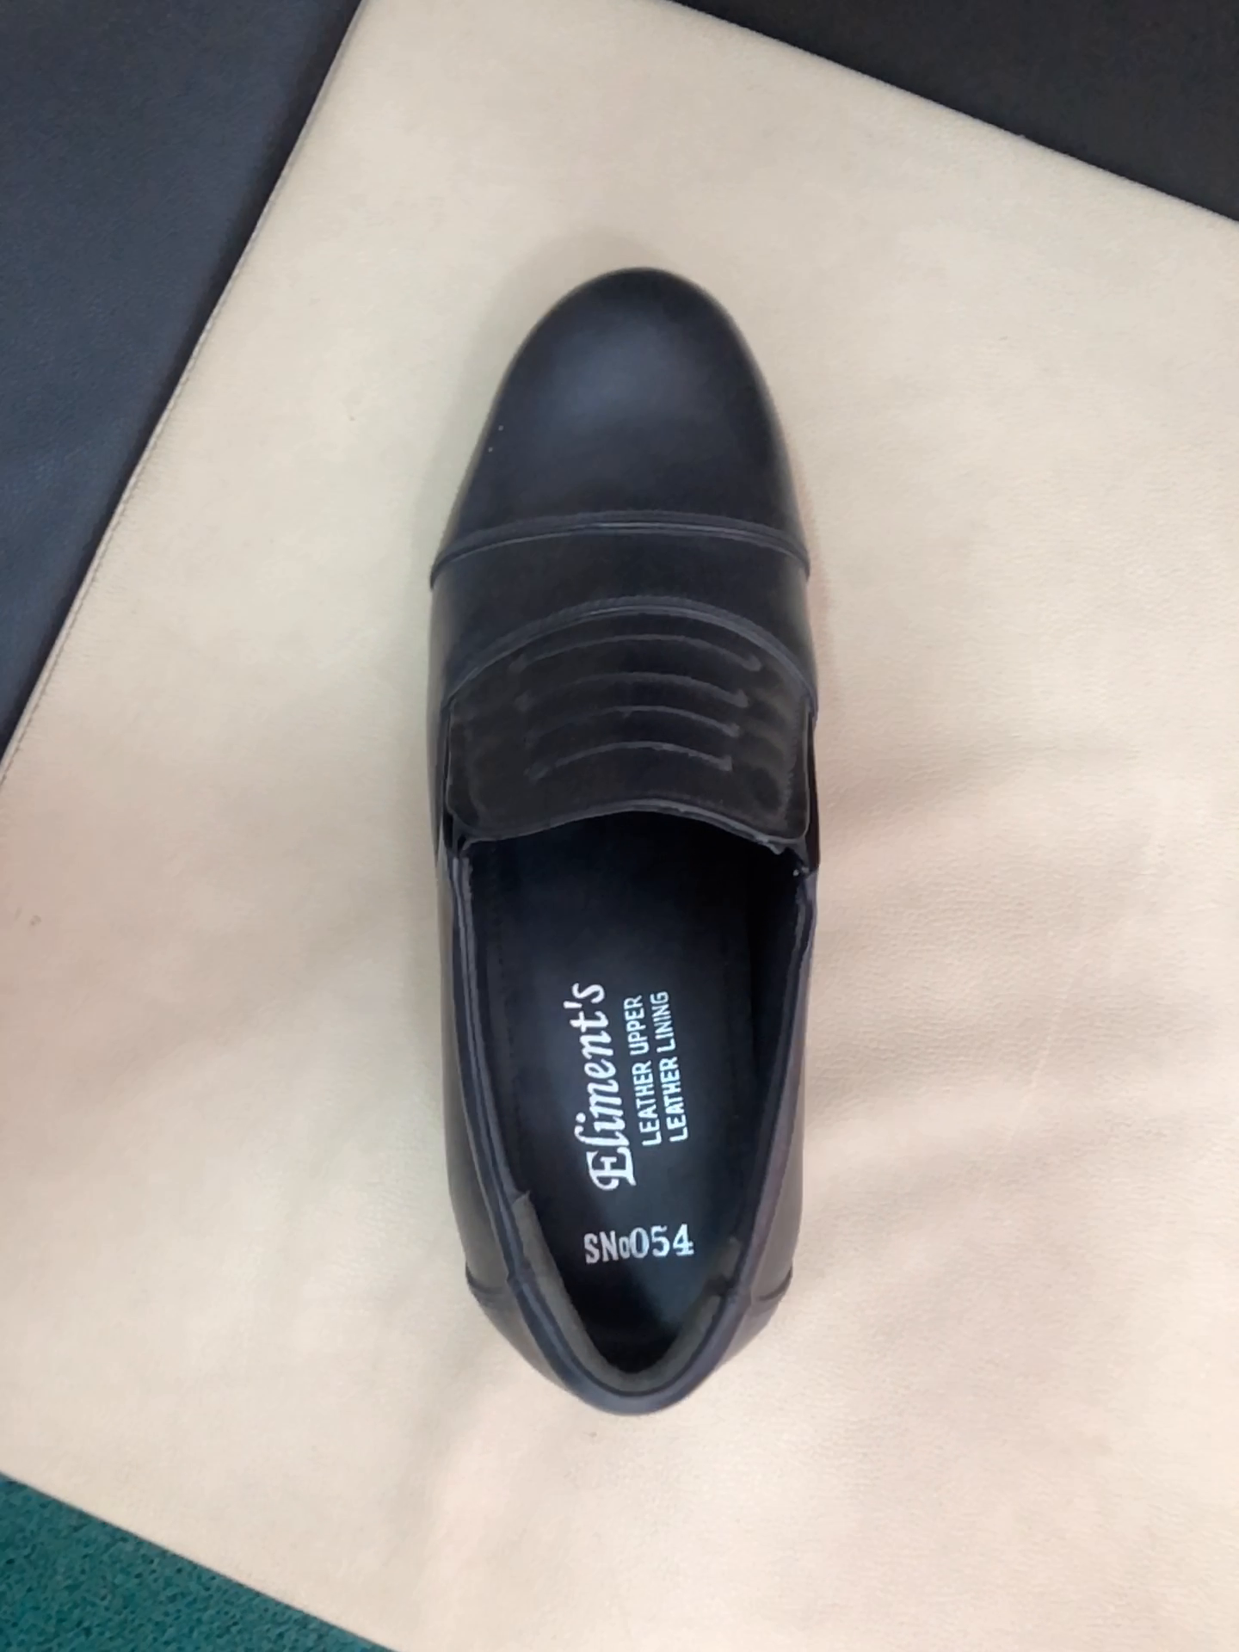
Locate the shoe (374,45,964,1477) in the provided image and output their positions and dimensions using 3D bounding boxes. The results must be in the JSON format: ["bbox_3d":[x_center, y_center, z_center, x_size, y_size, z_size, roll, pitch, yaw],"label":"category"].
[{"bbox_3d":[0.009,-0.013,0.322,0.100,0.120,0.270,-3,86,1],"label":"shoe"}]
